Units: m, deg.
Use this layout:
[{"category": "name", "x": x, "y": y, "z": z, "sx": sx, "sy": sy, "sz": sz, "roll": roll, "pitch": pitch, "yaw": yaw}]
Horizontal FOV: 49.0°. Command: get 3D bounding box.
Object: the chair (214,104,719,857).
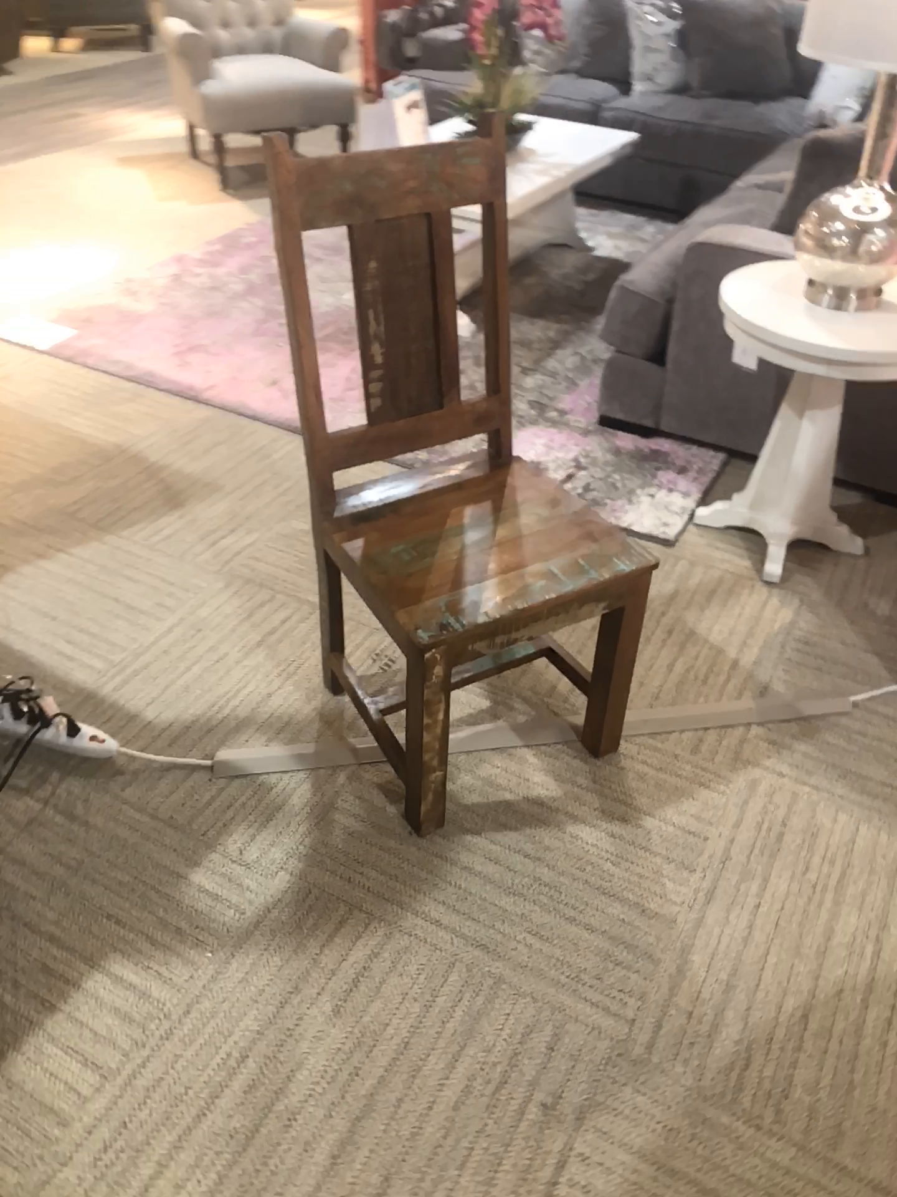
[{"category": "chair", "x": -0.005, "y": -0.179, "z": 1.615, "sx": 0.476, "sy": 1.024, "sz": 0.512, "roll": -19, "pitch": 42, "yaw": -24}]
